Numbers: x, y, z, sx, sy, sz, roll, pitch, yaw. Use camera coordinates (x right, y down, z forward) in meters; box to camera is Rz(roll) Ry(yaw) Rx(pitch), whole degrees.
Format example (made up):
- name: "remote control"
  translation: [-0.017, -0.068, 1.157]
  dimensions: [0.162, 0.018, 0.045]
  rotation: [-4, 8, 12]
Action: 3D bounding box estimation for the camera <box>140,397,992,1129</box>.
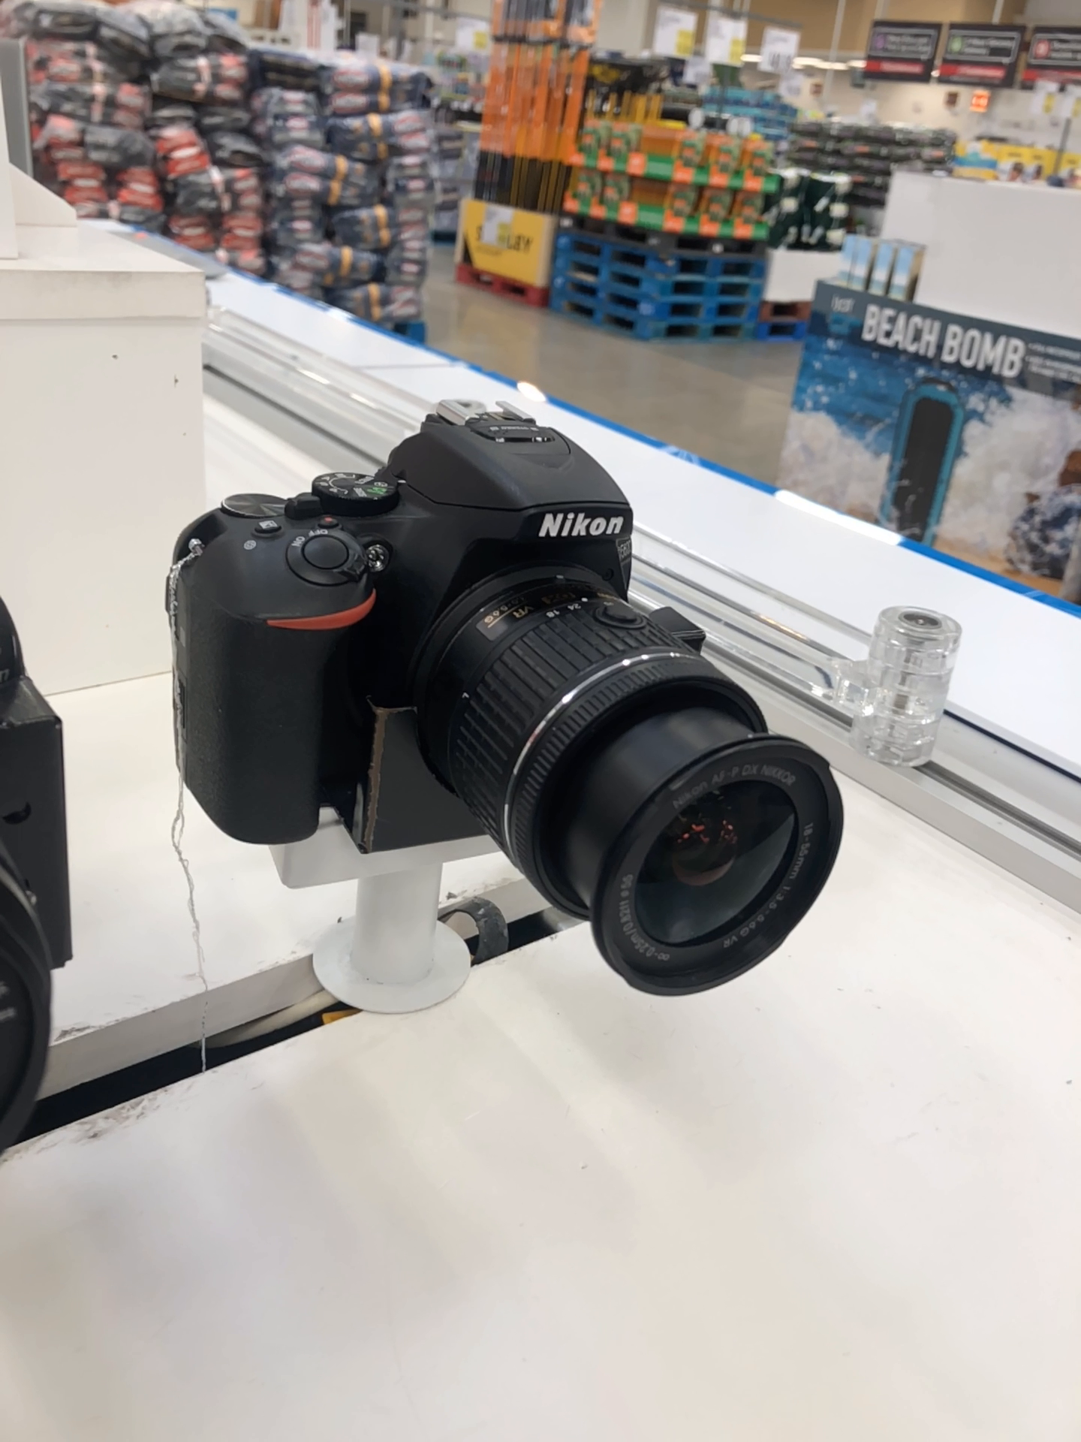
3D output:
- name: "camera"
  translation: [-0.007, -0.011, 0.276]
  dimensions: [0.120, 0.089, 0.151]
  rotation: [-11, 32, -33]
